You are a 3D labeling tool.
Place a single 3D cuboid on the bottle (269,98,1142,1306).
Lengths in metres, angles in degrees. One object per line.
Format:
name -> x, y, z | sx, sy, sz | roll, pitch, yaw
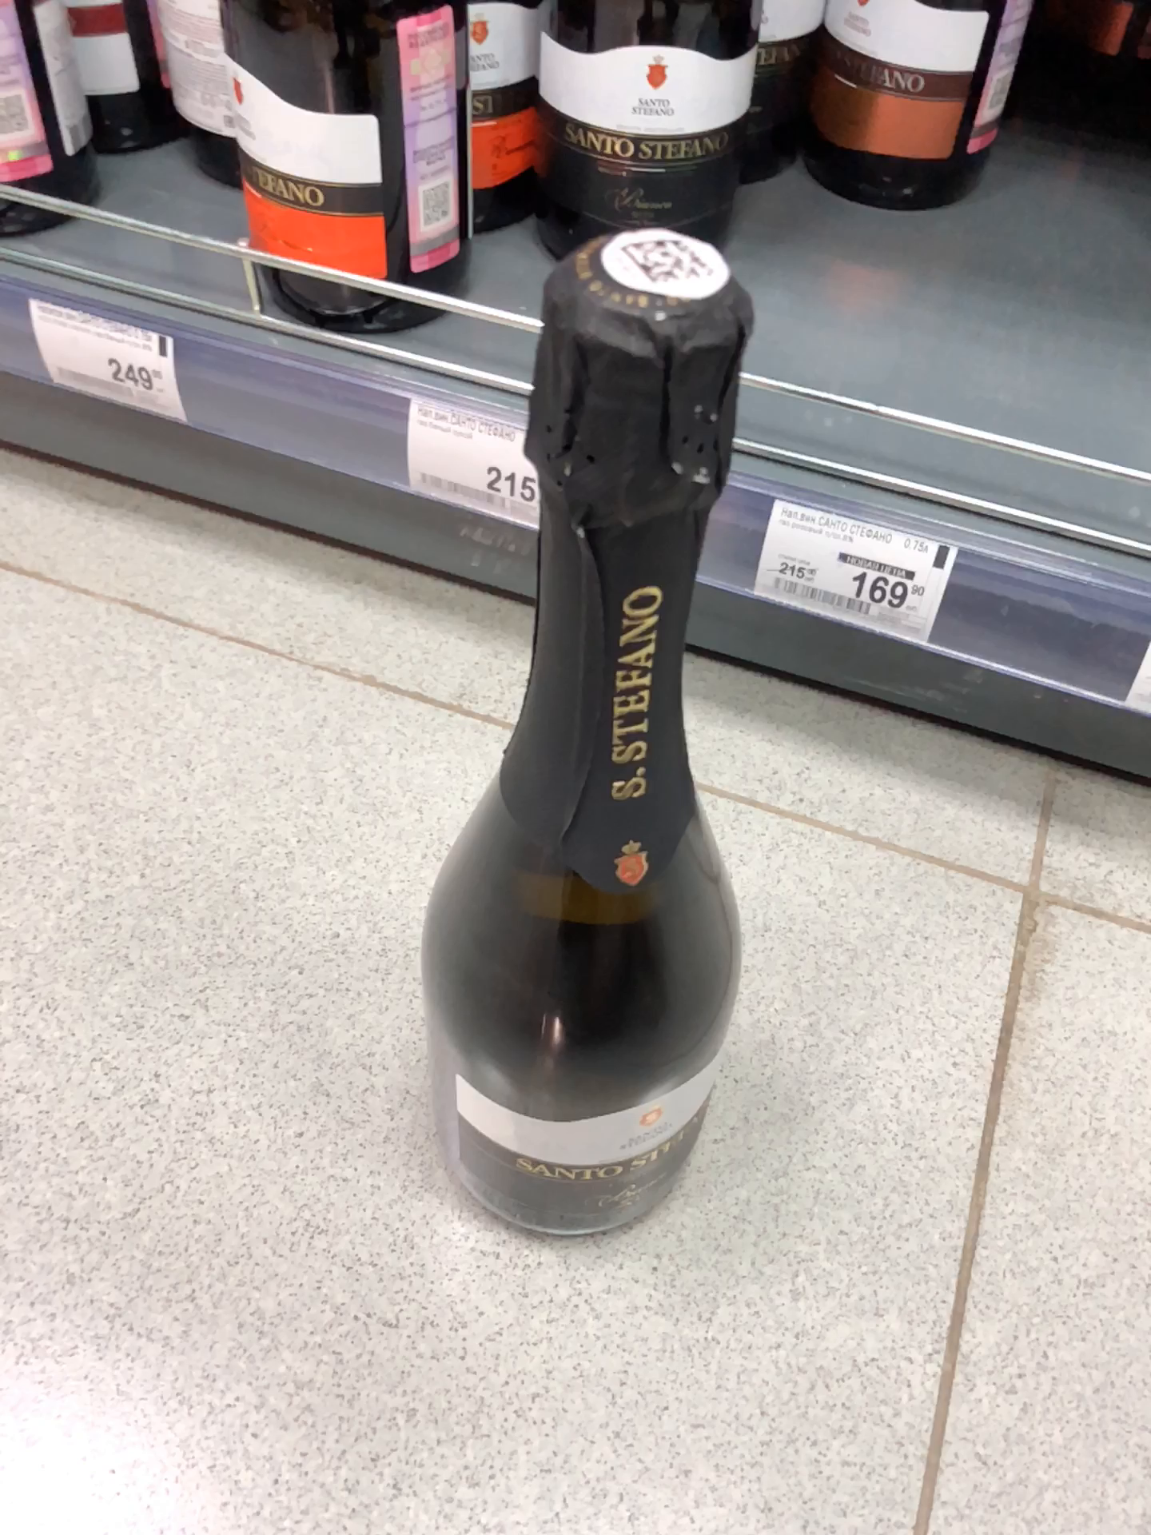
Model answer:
bottle -> 0.009, 0.015, 0.317 | 0.110, 0.298, 0.100 | 2, 48, -2
